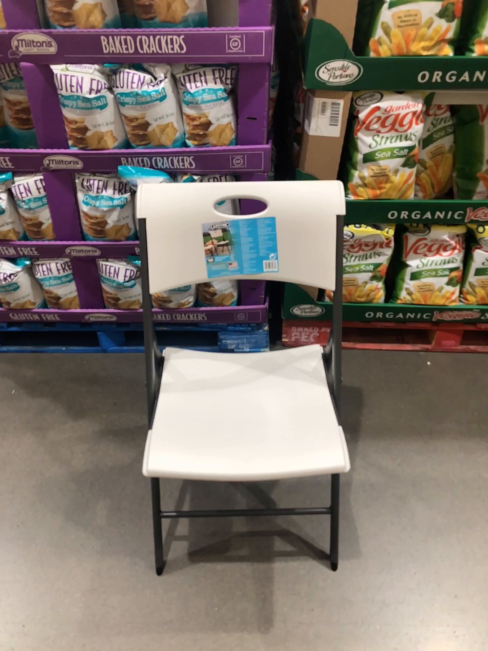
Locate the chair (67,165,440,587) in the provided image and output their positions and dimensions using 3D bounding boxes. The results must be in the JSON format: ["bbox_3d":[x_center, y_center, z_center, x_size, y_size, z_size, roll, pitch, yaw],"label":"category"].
[{"bbox_3d":[0.013,0.126,1.257,0.545,0.790,0.597,-1,39,0],"label":"chair"}]
